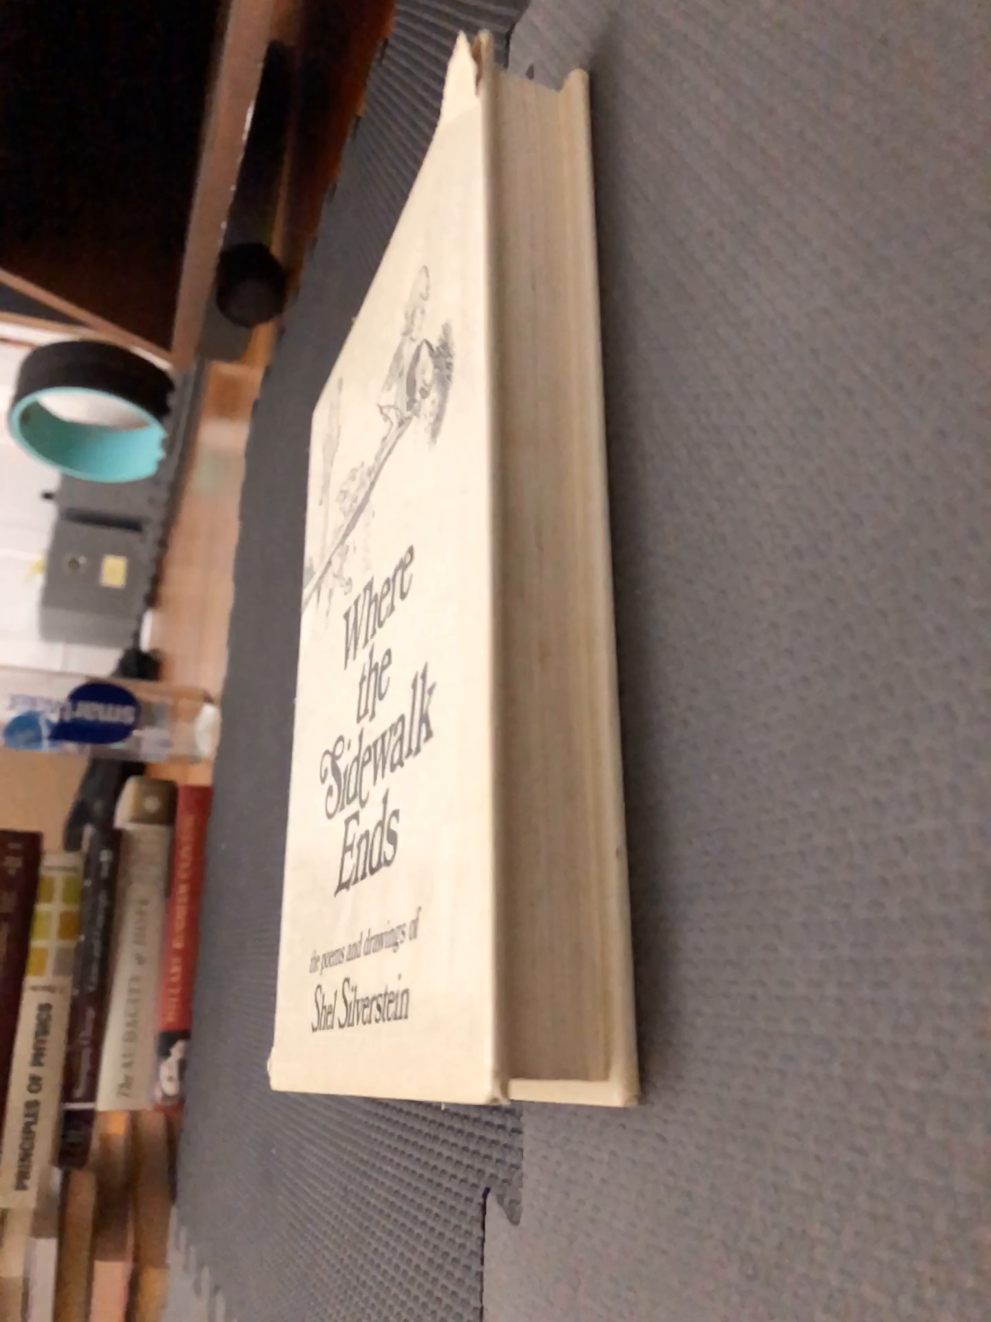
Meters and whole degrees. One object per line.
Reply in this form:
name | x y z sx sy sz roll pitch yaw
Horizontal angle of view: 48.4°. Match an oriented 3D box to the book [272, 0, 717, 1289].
book | -0.015 -0.013 0.293 0.201 0.030 0.280 139 135 -62
